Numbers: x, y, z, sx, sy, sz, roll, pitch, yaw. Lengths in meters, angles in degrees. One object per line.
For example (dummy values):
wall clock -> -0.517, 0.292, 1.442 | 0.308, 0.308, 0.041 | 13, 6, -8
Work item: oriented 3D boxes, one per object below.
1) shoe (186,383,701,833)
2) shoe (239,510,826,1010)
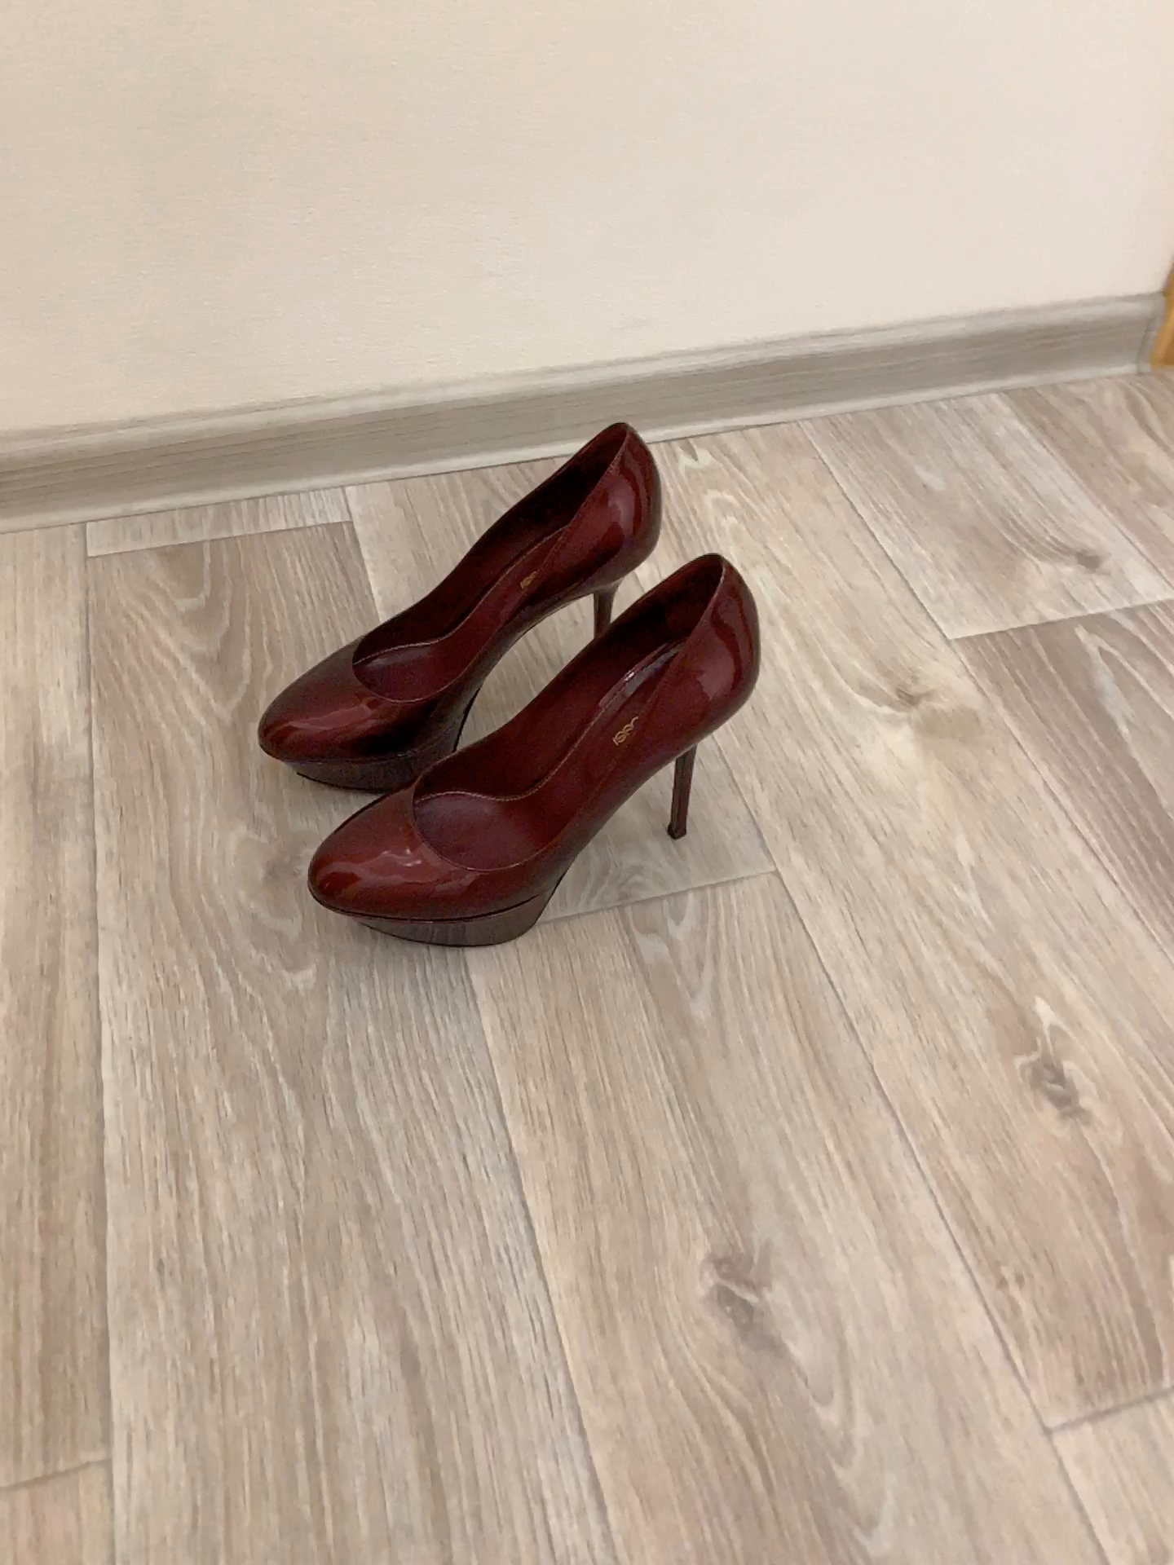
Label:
shoe -> -0.065, -0.086, 0.589 | 0.210, 0.149, 0.087 | -18, 52, -18
shoe -> -0.023, -0.010, 0.521 | 0.210, 0.149, 0.087 | -17, 51, -17
